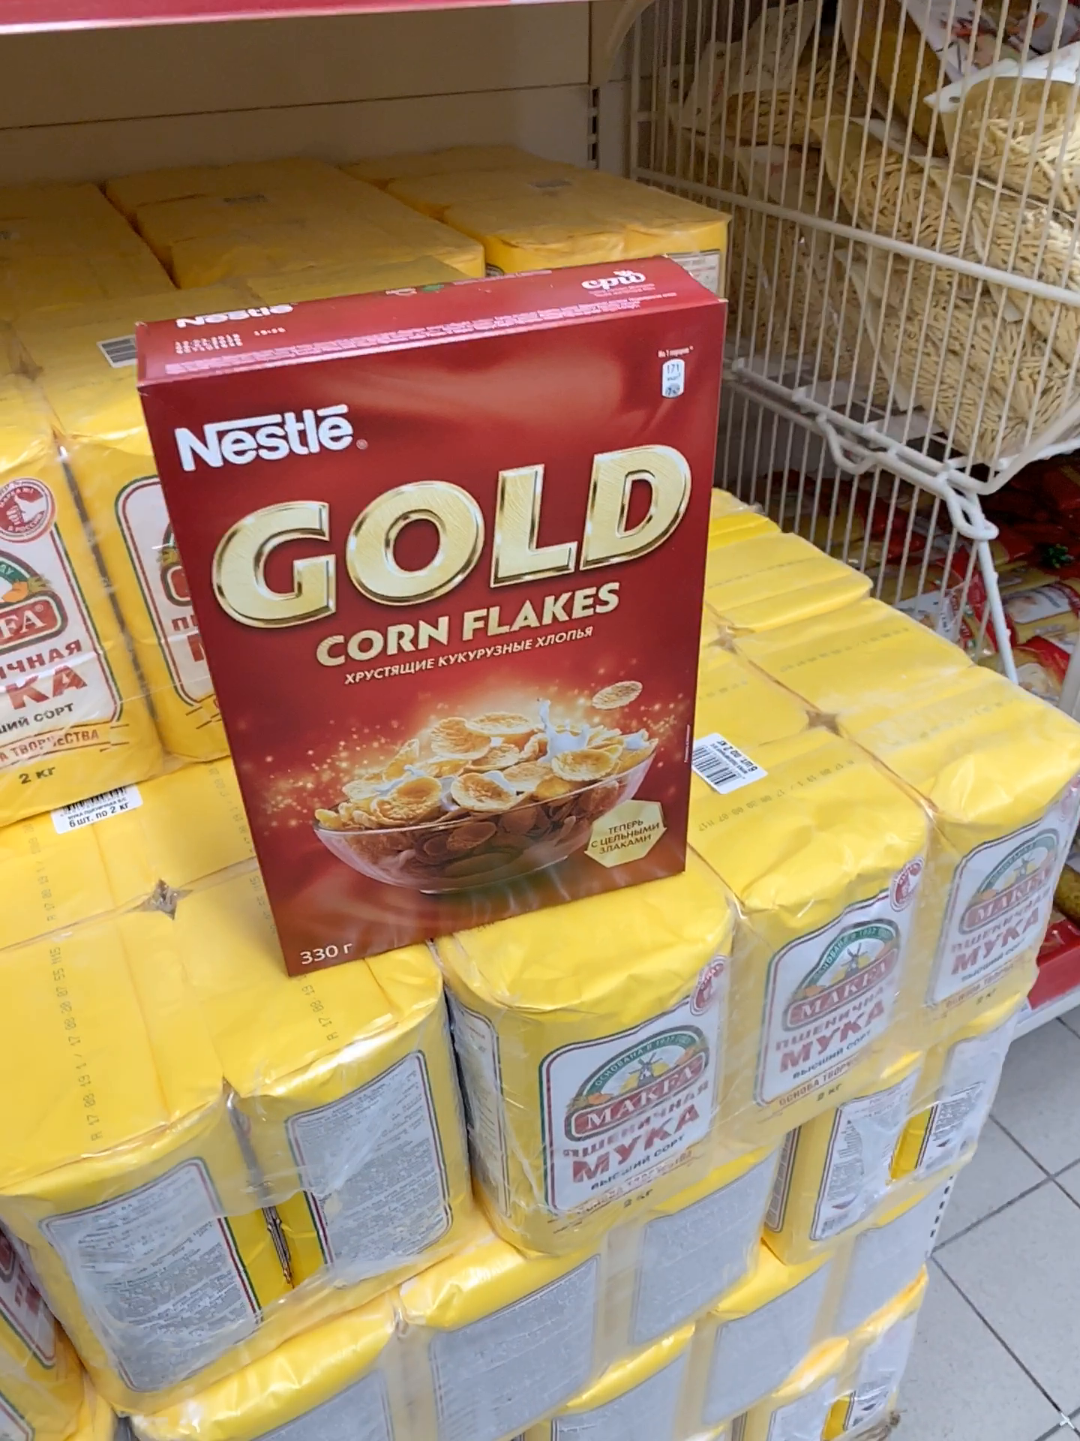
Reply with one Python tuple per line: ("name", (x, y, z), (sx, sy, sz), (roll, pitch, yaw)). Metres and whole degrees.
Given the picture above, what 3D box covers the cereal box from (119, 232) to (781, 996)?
("cereal box", (-0.030, -0.032, 0.458), (0.210, 0.287, 0.071), (-12, 39, -15))
